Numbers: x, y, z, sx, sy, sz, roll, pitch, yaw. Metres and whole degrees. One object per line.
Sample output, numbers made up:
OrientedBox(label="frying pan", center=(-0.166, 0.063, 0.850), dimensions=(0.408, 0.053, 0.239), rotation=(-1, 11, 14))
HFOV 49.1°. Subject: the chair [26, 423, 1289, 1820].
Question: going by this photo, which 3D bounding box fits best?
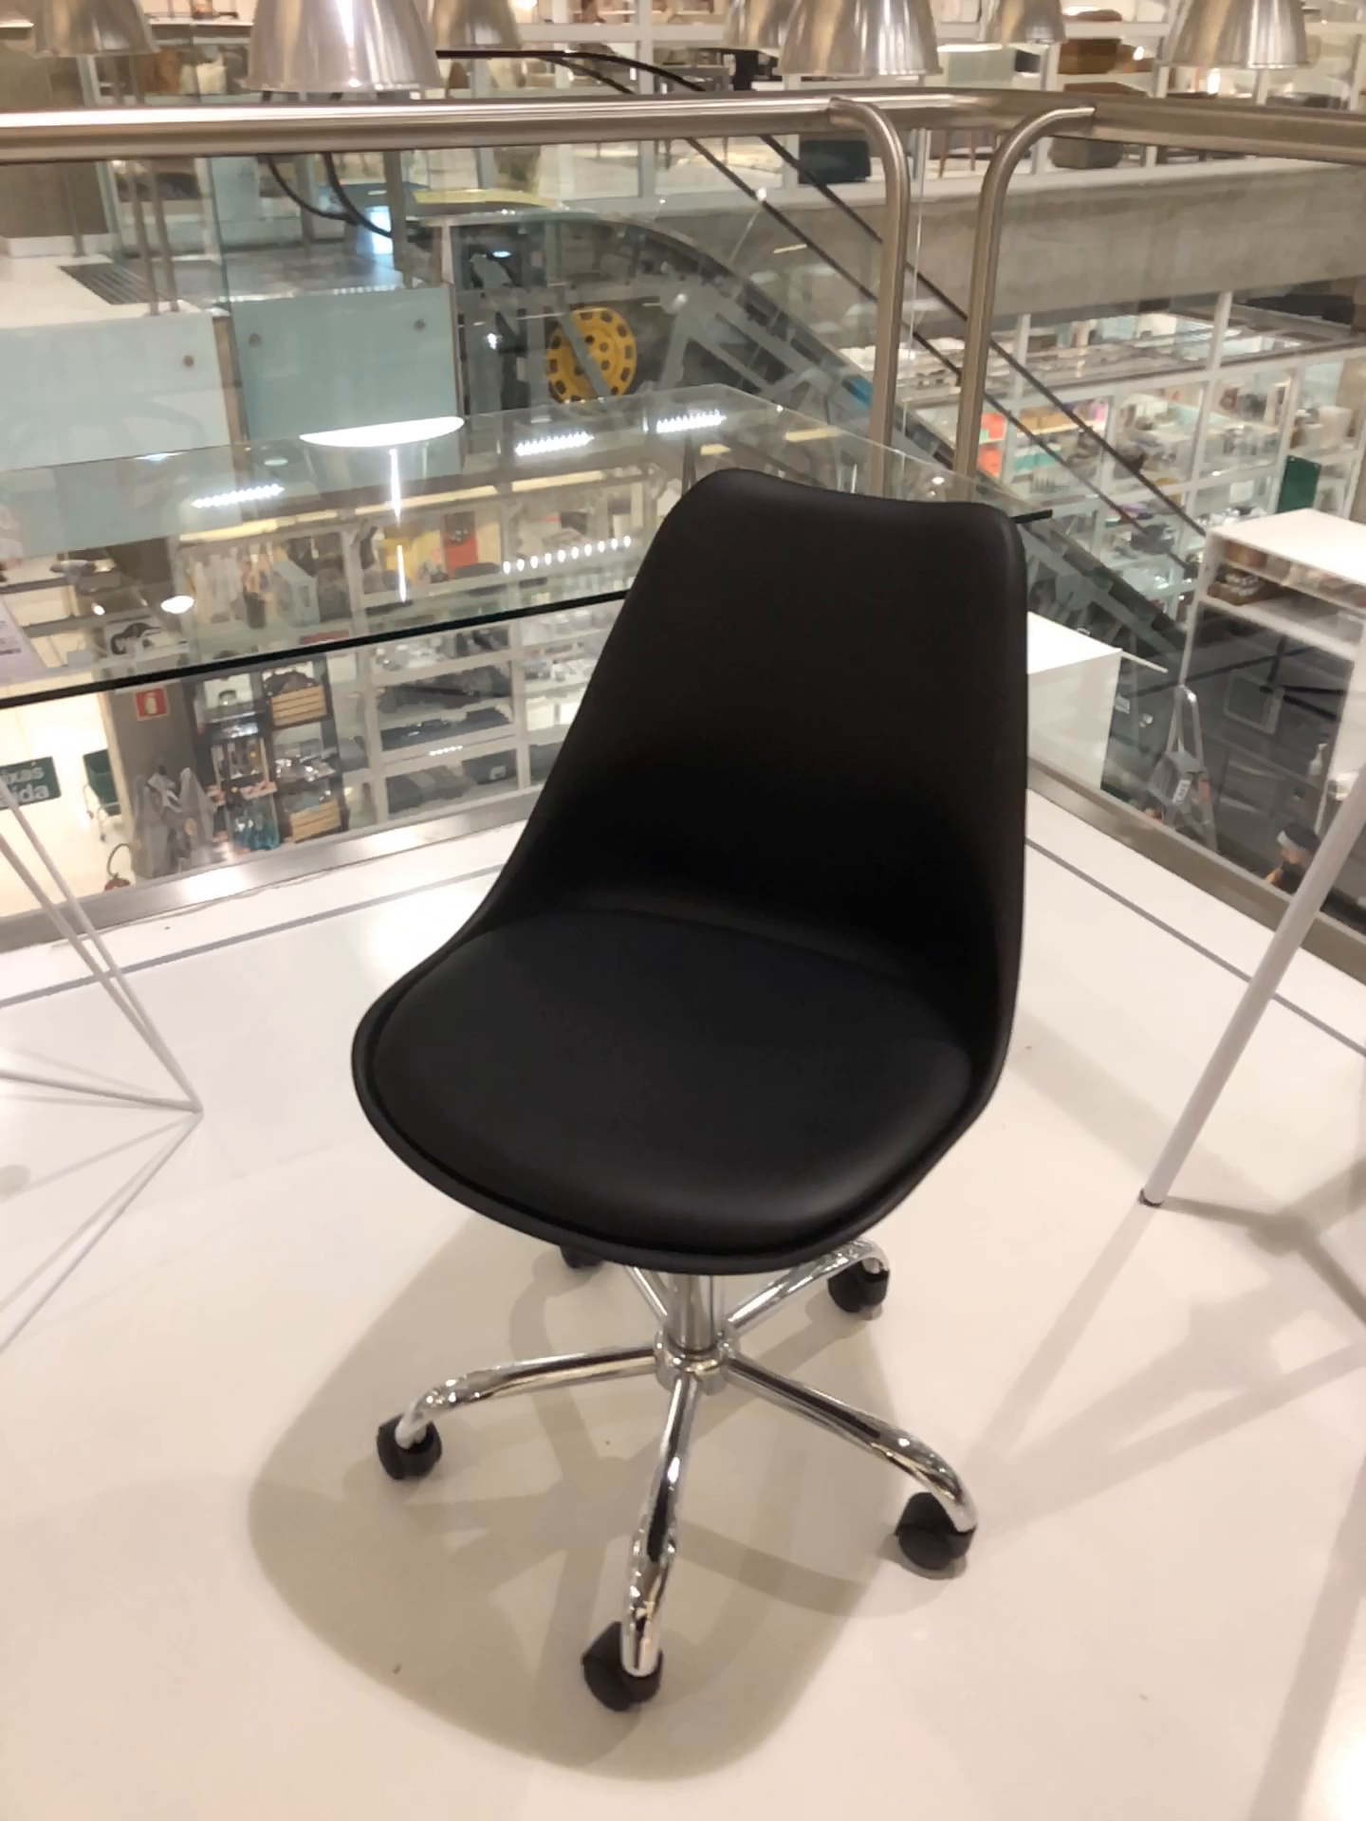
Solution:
OrientedBox(label="chair", center=(0.034, 0.125, 1.213), dimensions=(0.631, 0.824, 0.634), rotation=(14, 33, 23))
